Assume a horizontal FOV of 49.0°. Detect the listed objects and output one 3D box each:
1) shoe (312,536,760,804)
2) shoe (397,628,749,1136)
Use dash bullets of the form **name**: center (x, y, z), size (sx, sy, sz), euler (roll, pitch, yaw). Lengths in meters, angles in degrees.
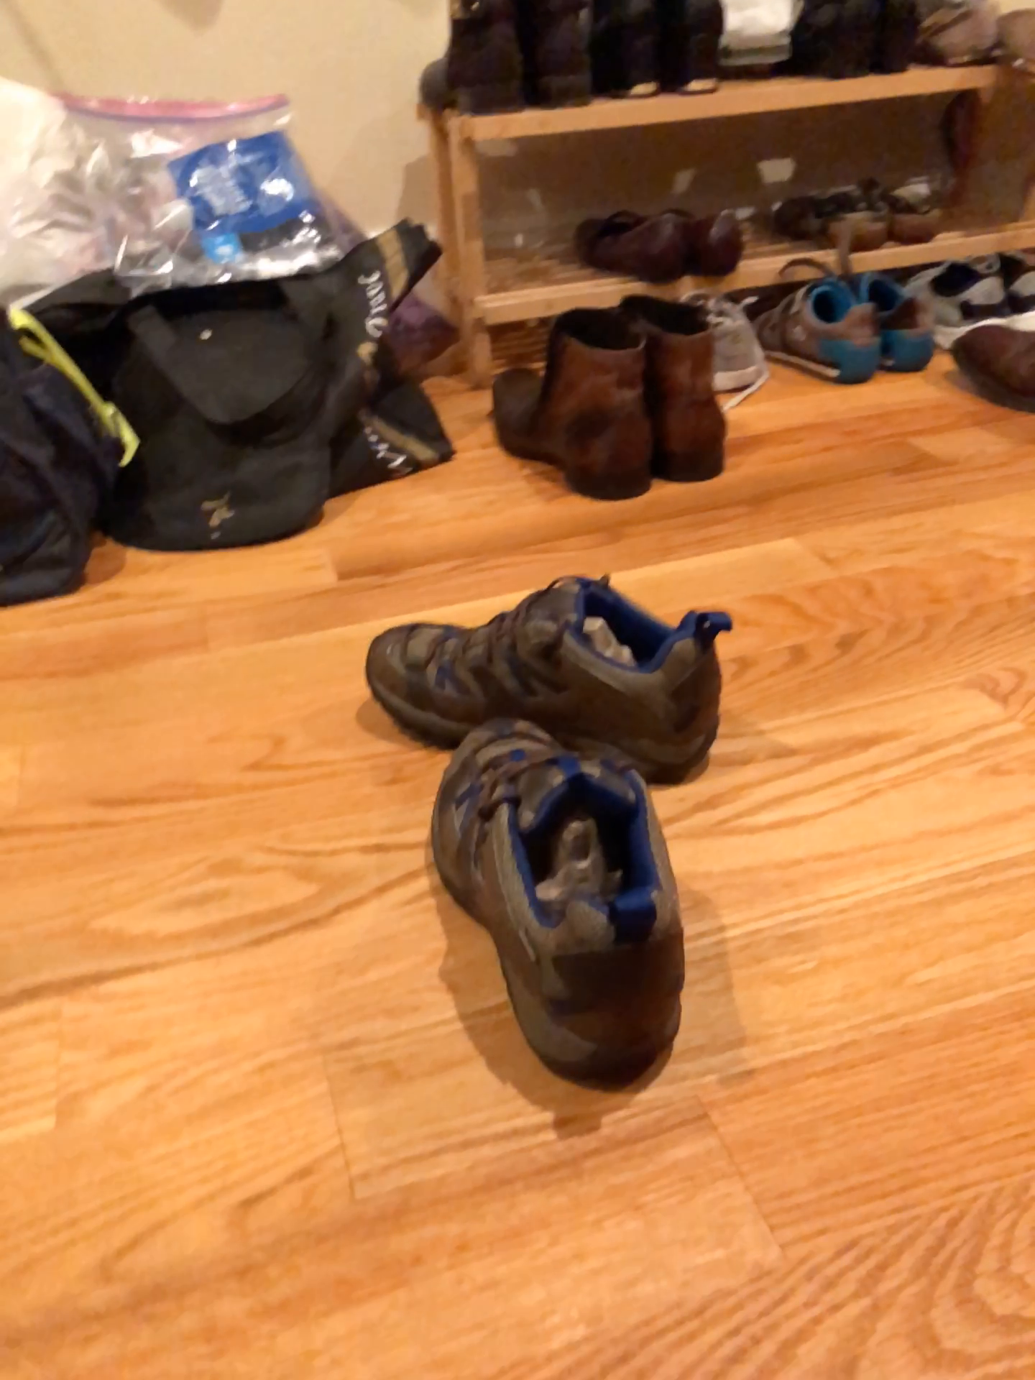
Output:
- **shoe**: center (0.013, -0.019, 0.707), size (0.252, 0.094, 0.097), euler (10, 34, 21)
- **shoe**: center (0.016, 0.078, 0.569), size (0.094, 0.106, 0.241), euler (-12, 32, -12)
